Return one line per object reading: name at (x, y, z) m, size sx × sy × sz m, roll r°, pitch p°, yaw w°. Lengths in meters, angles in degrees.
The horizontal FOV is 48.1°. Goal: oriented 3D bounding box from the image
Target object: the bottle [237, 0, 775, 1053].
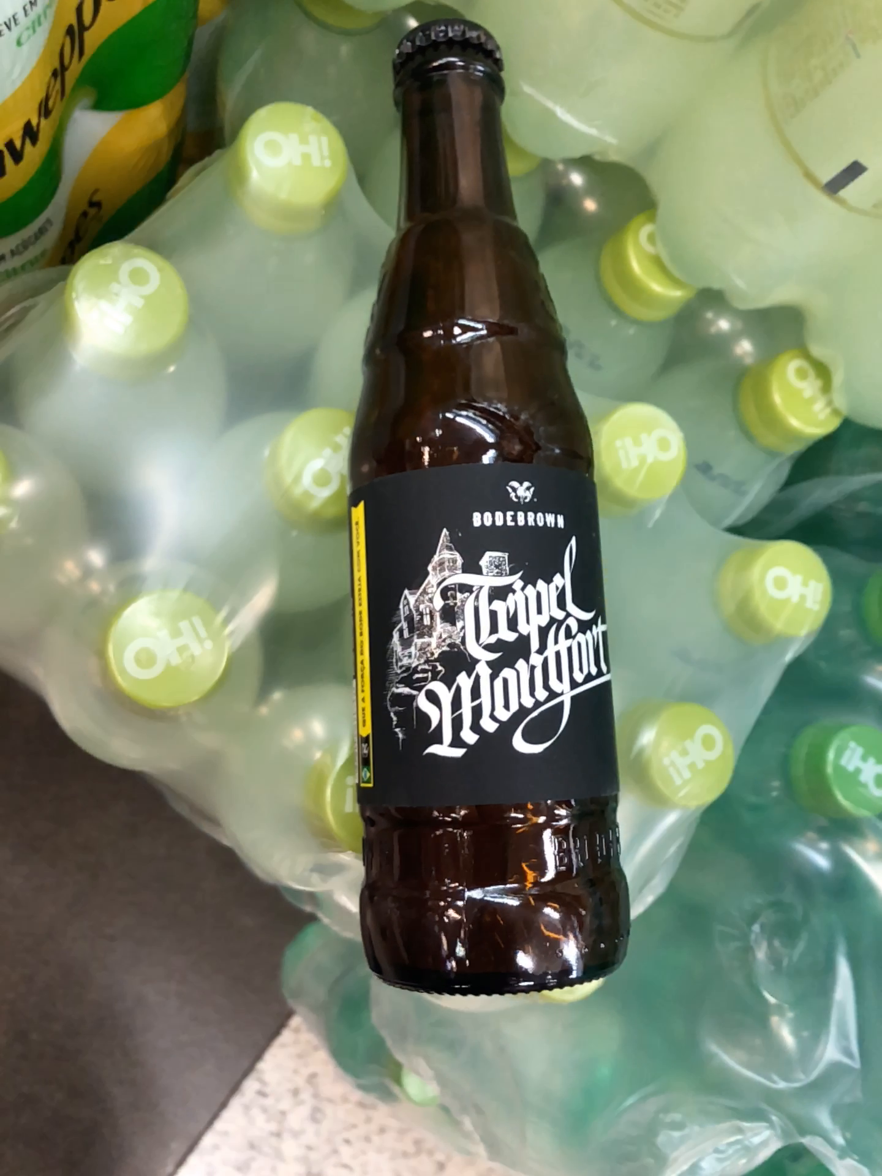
bottle at (0.005, -0.047, 0.216) m, size 0.070 × 0.070 × 0.250 m, roll -3°, pitch 83°, yaw -20°
